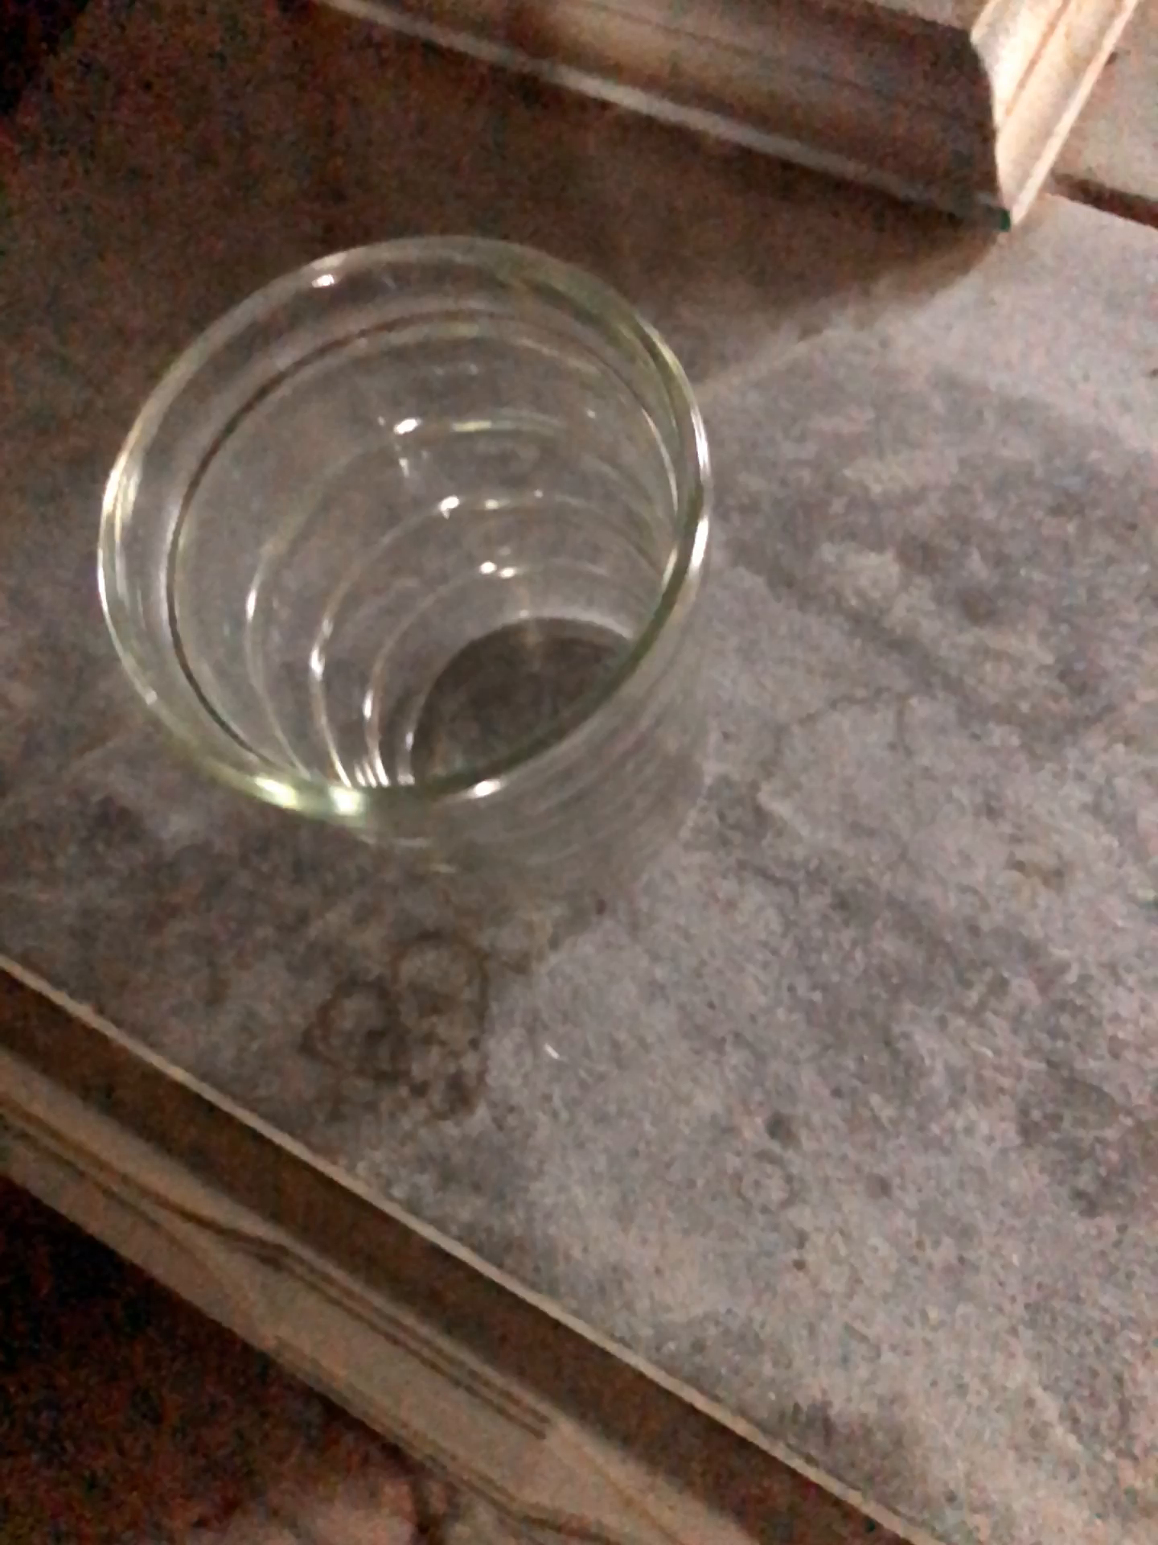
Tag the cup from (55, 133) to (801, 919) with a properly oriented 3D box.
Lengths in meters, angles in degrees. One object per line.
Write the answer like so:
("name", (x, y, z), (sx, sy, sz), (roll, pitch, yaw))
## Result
("cup", (-0.008, -0.024, 0.171), (0.070, 0.080, 0.070), (-3, 75, 10))
